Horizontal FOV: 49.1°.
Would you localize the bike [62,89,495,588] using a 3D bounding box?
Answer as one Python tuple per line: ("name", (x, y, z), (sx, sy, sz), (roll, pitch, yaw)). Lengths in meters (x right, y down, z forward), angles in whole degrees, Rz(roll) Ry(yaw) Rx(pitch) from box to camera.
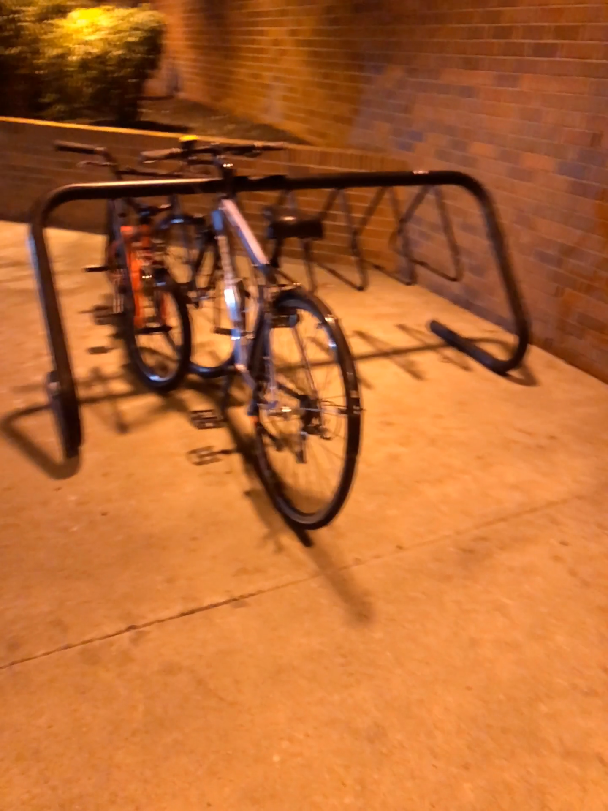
("bike", (-0.254, -0.409, 2.170), (0.638, 0.864, 1.651), (-11, 35, -25))
